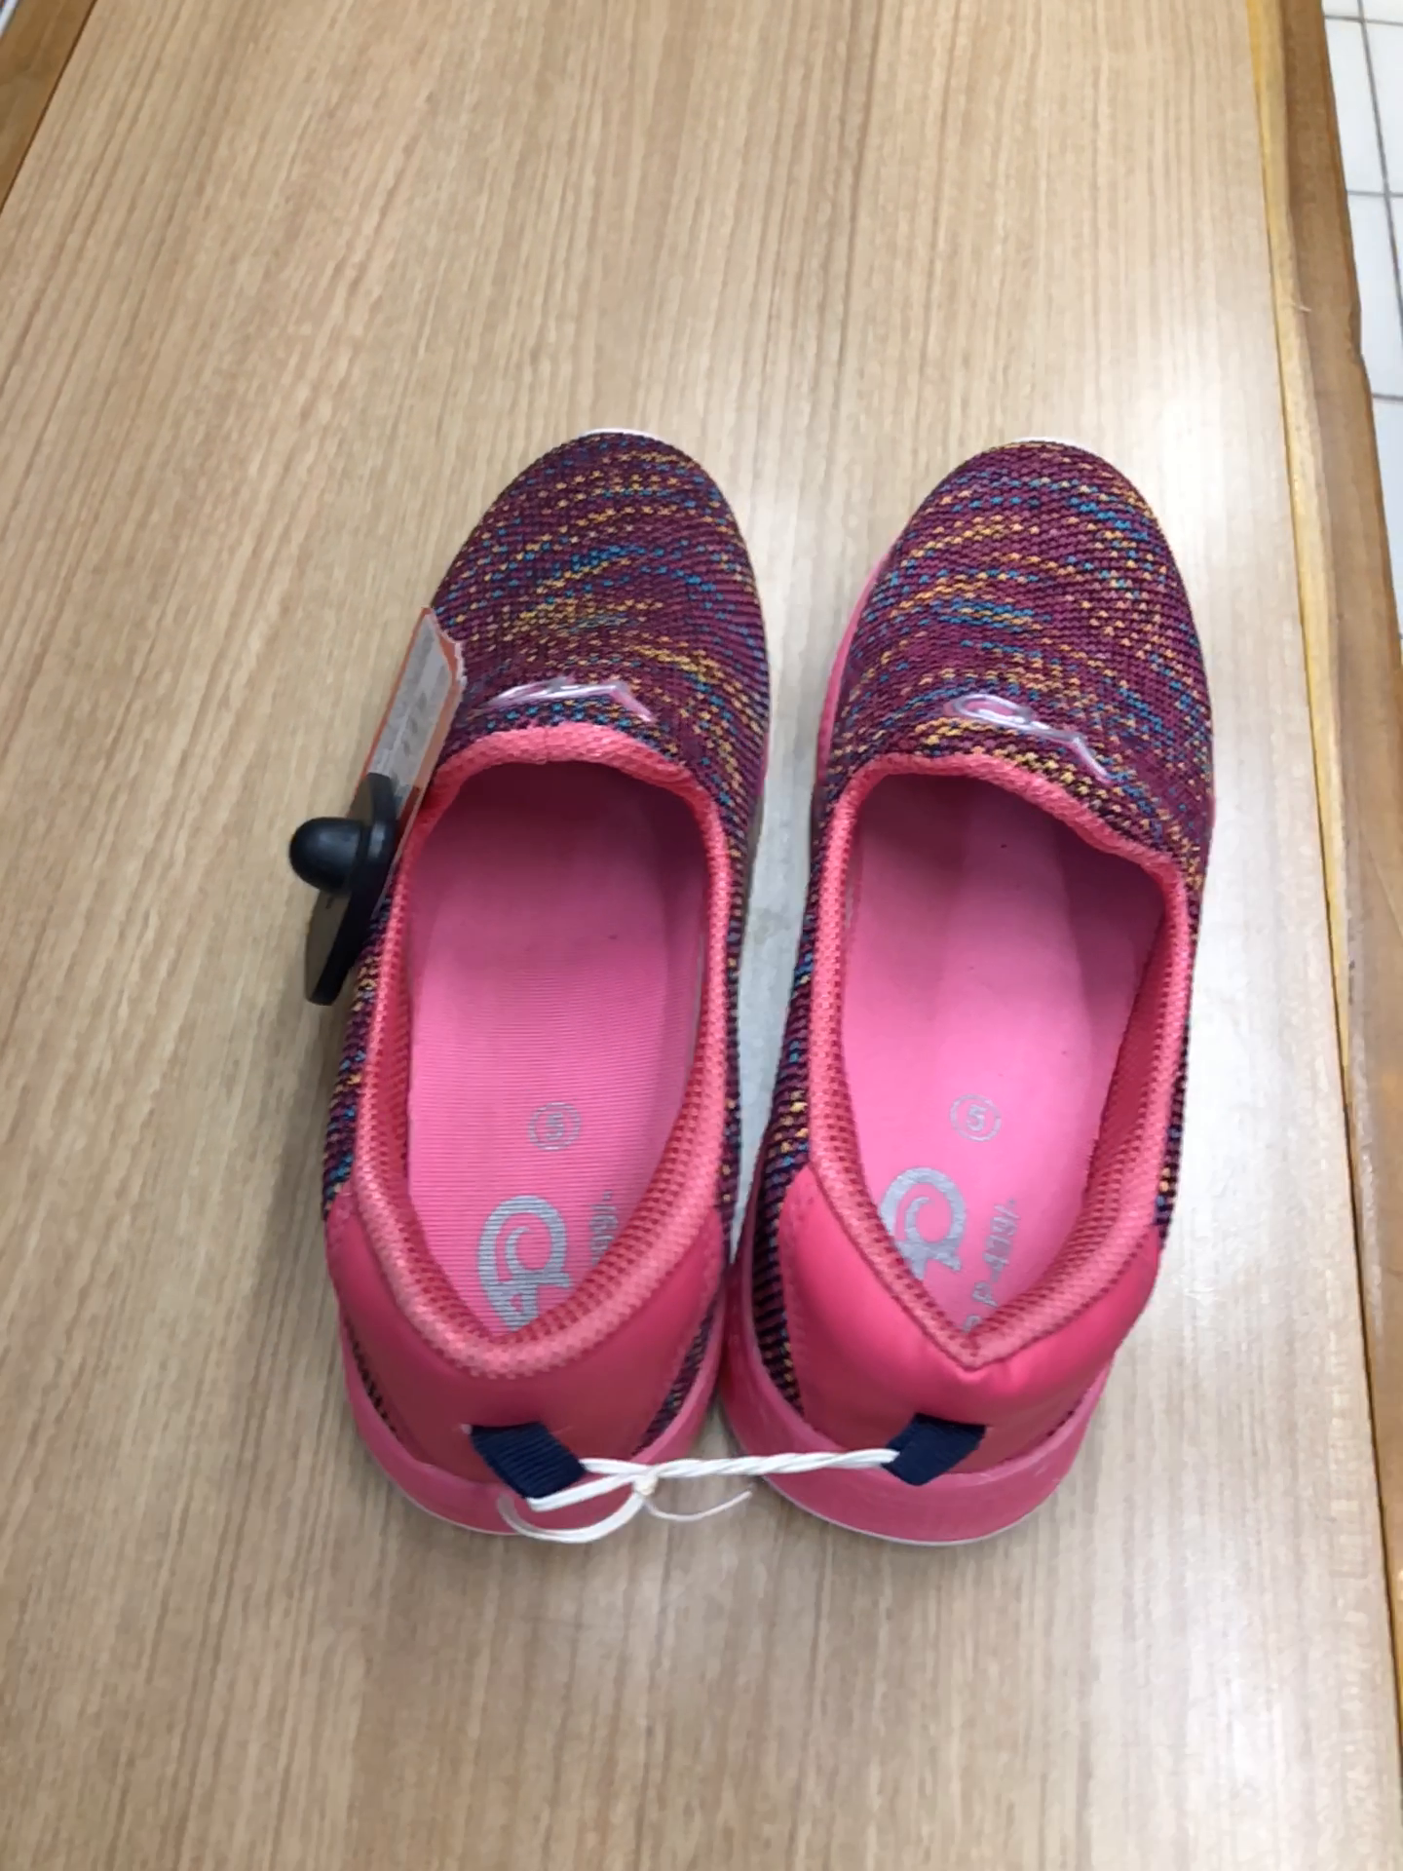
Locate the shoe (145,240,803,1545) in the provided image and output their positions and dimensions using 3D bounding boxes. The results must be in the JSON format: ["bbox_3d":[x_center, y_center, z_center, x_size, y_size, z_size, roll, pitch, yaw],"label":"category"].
[{"bbox_3d":[-0.029,-0.014,0.325,0.090,0.100,0.251,3,64,1],"label":"shoe"}]

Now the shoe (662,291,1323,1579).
[{"bbox_3d":[0.068,-0.006,0.352,0.100,0.100,0.261,10,64,5],"label":"shoe"}]
